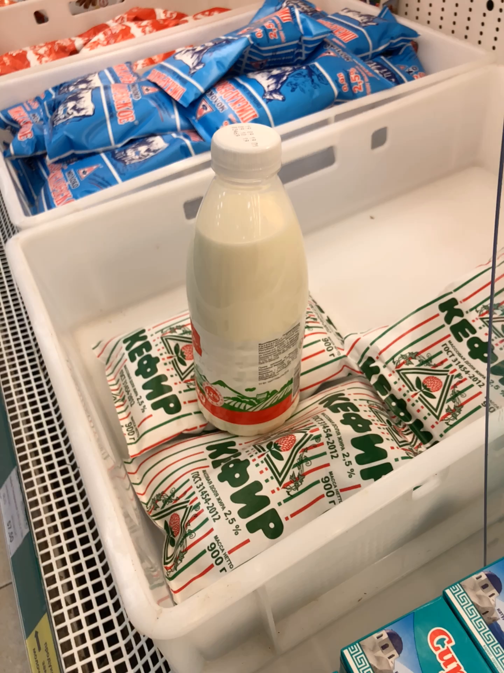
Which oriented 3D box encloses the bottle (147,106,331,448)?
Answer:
[{"bbox_3d":[-0.010,-0.029,0.383,0.085,0.216,0.085,0,45,0],"label":"bottle"}]
